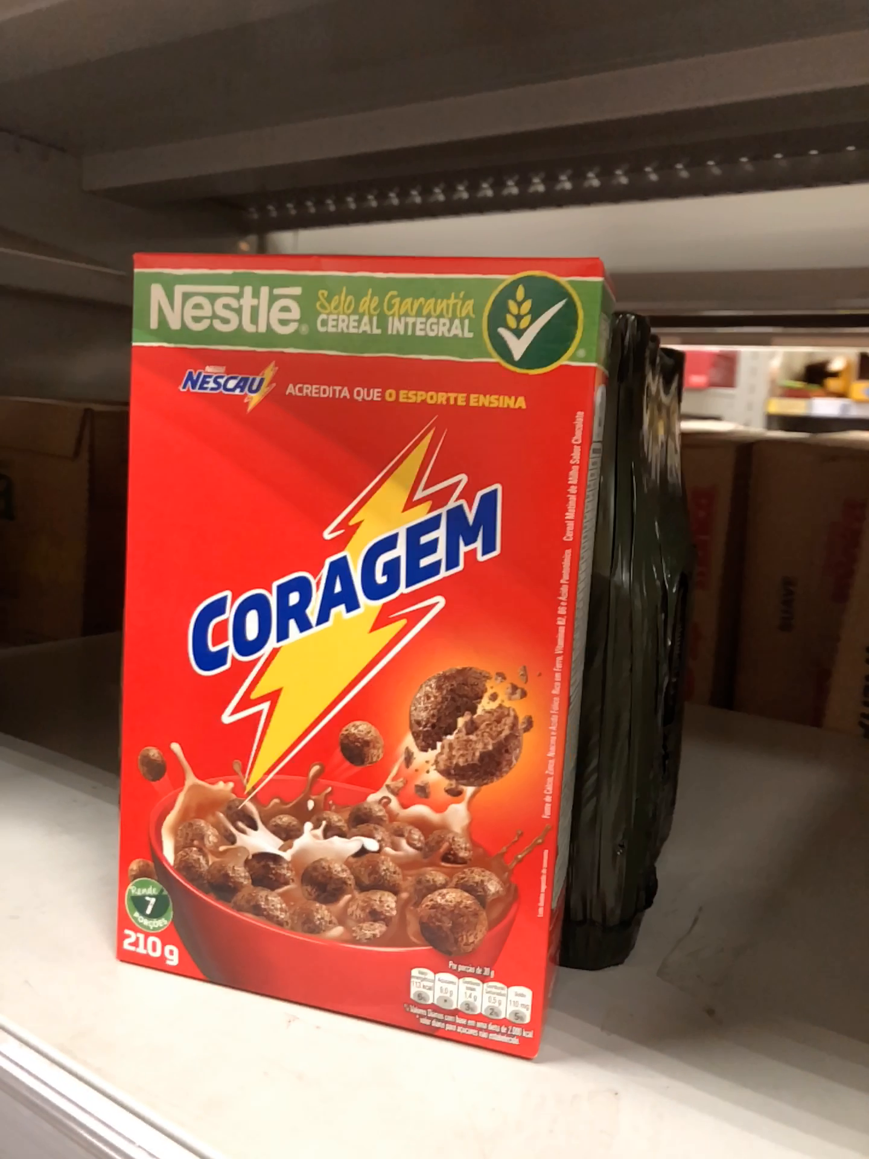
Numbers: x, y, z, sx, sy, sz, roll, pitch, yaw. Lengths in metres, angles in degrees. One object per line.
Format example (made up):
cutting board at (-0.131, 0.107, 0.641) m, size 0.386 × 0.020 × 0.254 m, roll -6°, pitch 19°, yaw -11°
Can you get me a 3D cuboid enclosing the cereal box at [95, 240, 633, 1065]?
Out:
cereal box at (-0.028, 0.017, 0.342) m, size 0.170 × 0.249 × 0.060 m, roll 5°, pitch 6°, yaw 18°
